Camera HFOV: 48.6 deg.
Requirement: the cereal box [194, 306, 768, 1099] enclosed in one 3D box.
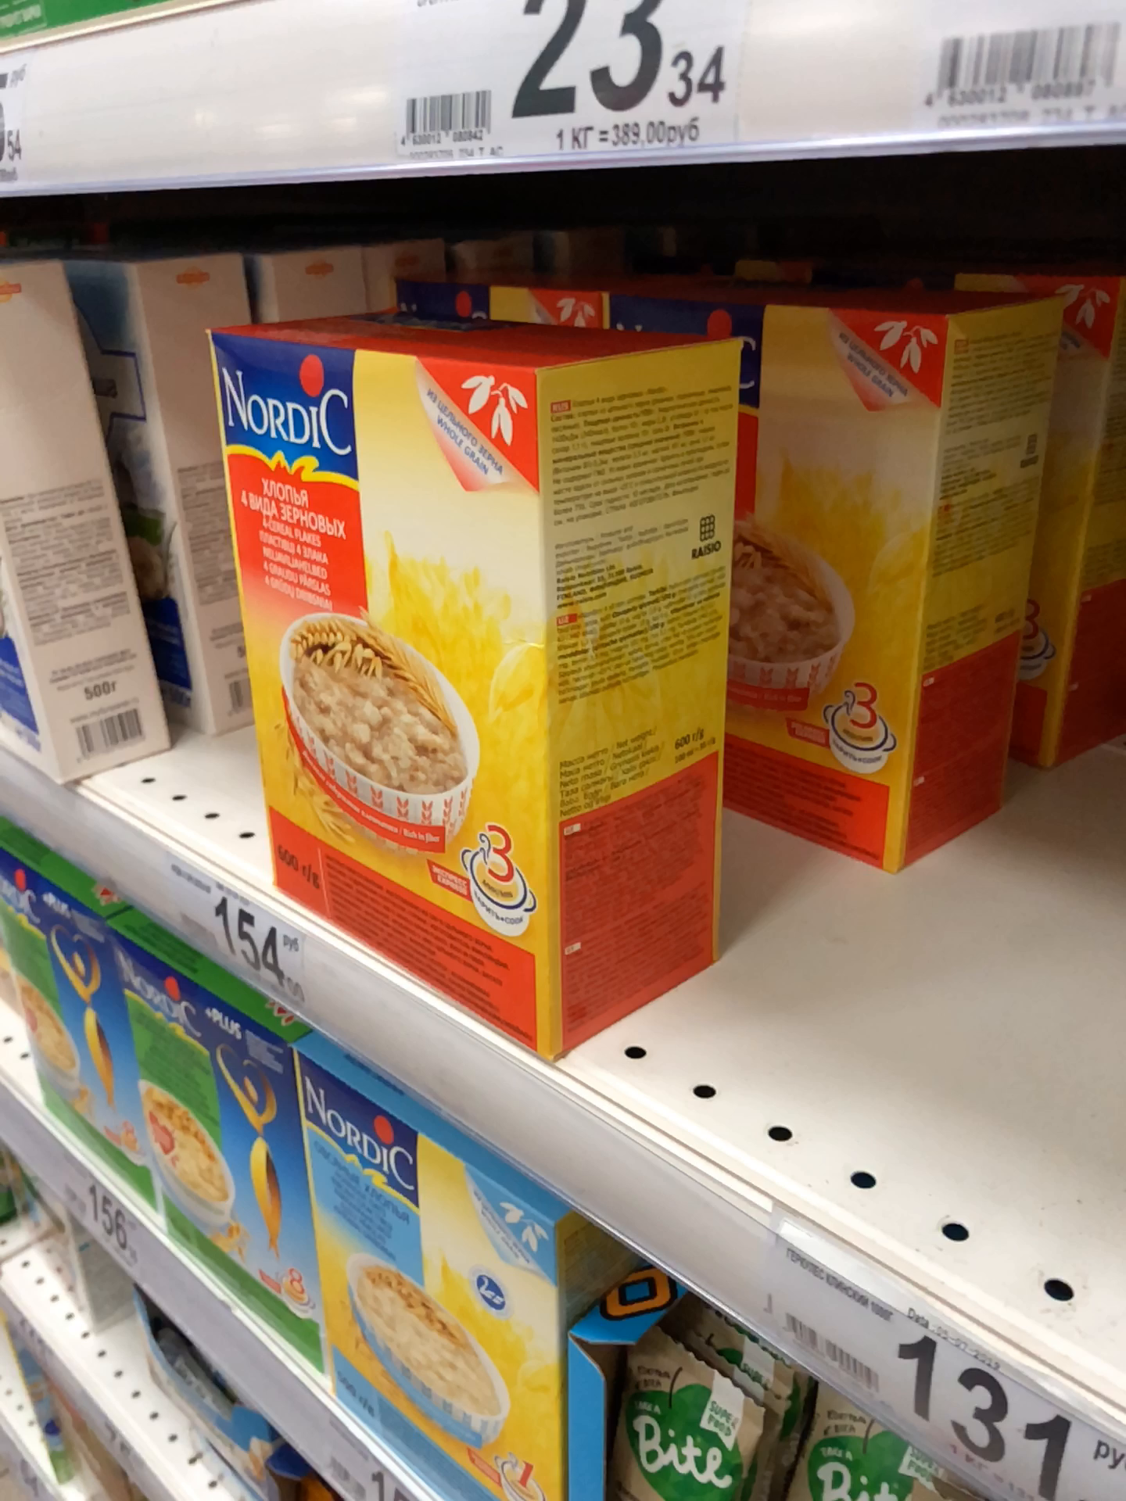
[{"bbox_3d":[-0.026,-0.026,0.386,0.080,0.199,0.150,-22,31,-40],"label":"cereal box"}]
